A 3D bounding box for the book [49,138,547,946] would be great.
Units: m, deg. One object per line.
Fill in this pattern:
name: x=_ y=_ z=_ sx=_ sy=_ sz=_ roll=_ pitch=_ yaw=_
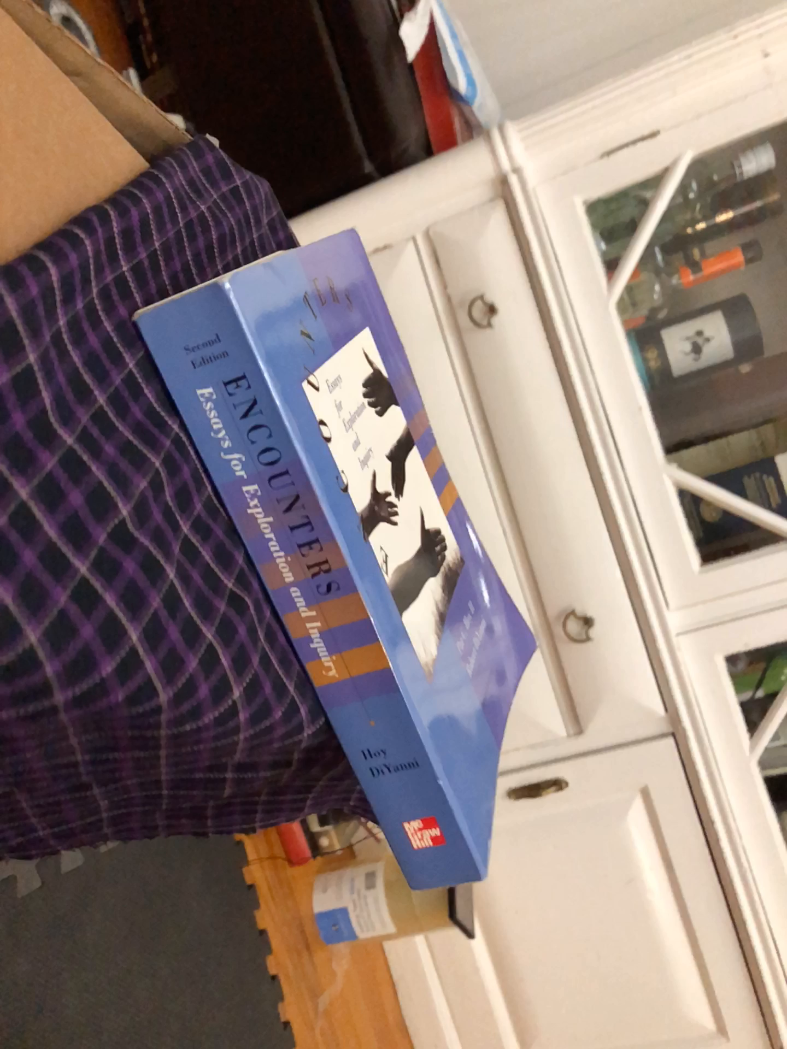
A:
book: x=-0.002 y=-0.010 z=0.348 sx=0.201 sy=0.040 sz=0.260 roll=-73 pitch=141 yaw=-62
